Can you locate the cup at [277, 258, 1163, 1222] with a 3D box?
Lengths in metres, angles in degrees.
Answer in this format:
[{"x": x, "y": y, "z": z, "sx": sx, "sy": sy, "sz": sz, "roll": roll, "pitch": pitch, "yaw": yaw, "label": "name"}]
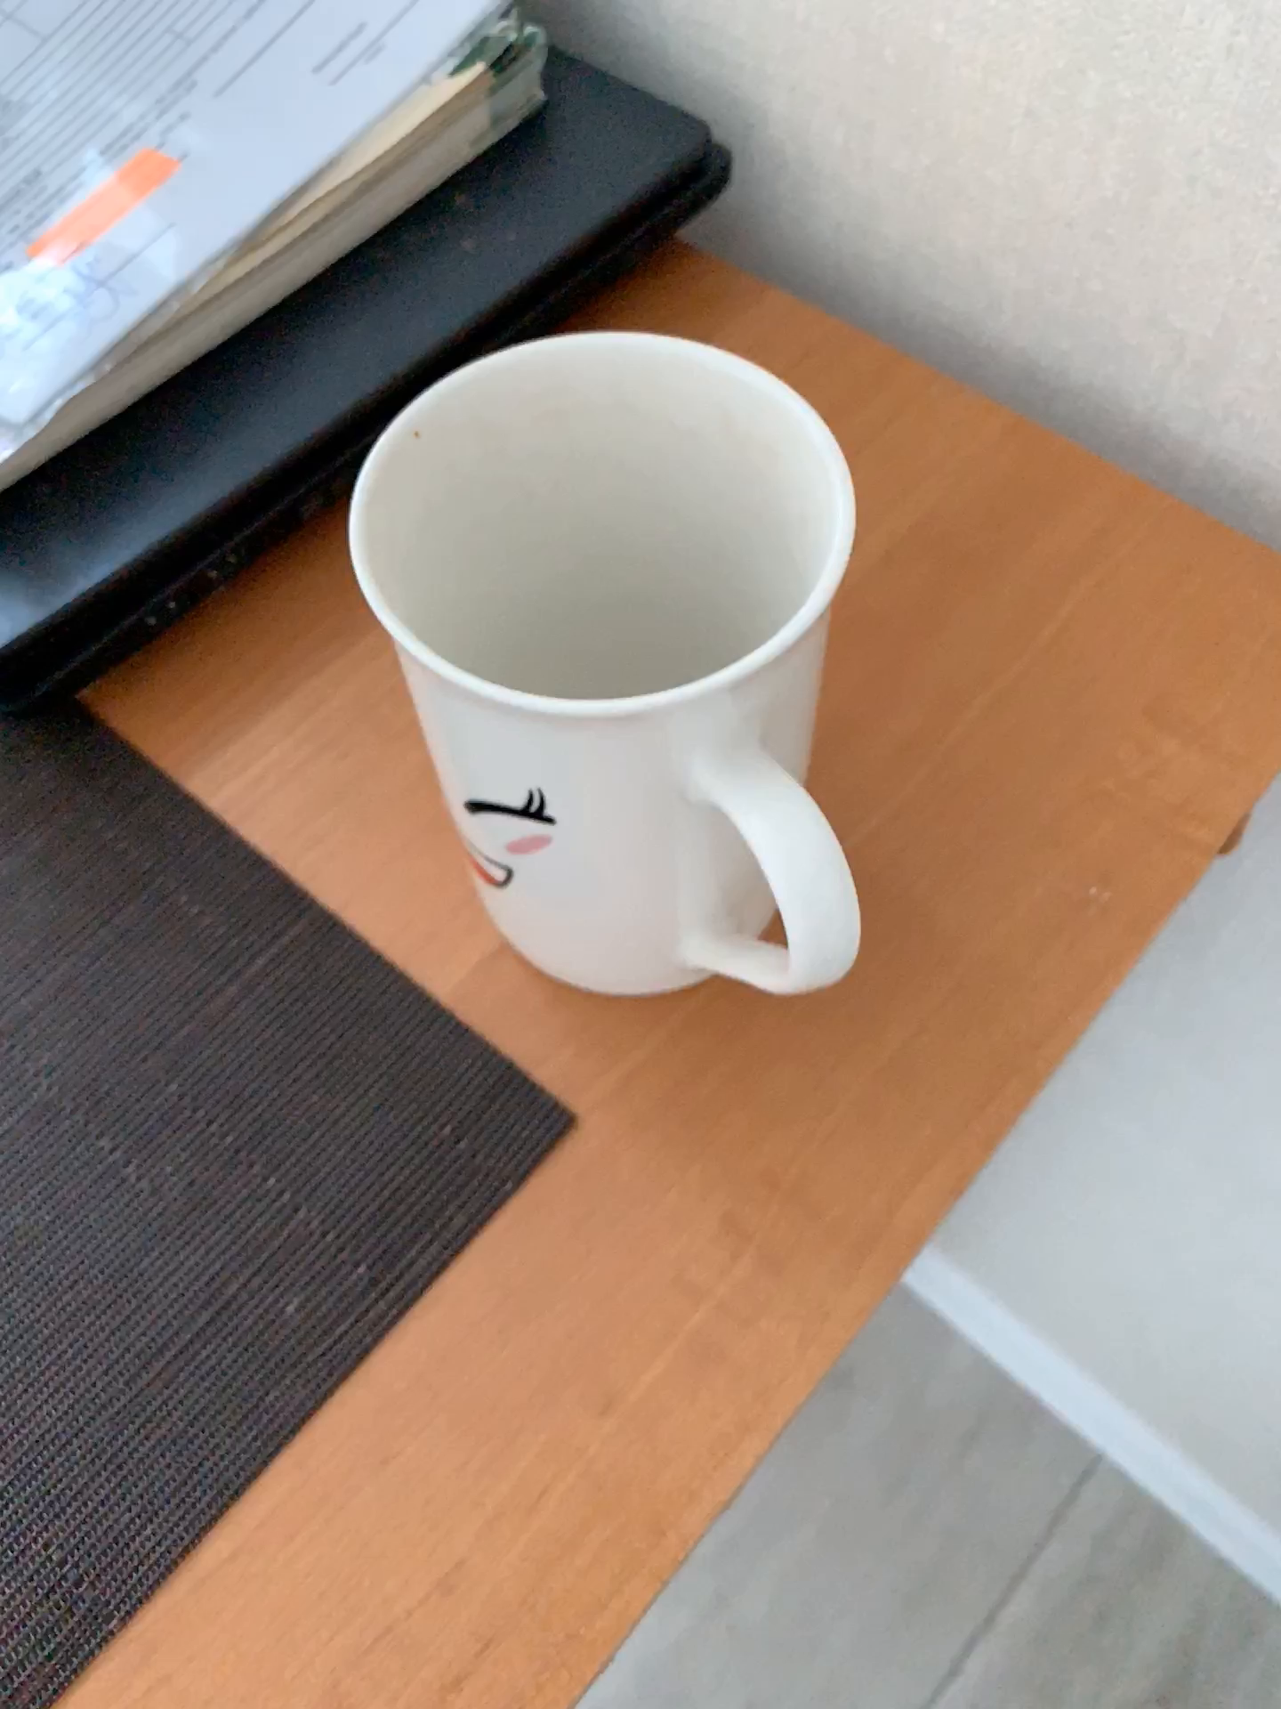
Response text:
[{"x": 0.007, "y": -0.017, "z": 0.228, "sx": 0.080, "sy": 0.095, "sz": 0.107, "roll": -26, "pitch": 63, "yaw": -14, "label": "cup"}]
